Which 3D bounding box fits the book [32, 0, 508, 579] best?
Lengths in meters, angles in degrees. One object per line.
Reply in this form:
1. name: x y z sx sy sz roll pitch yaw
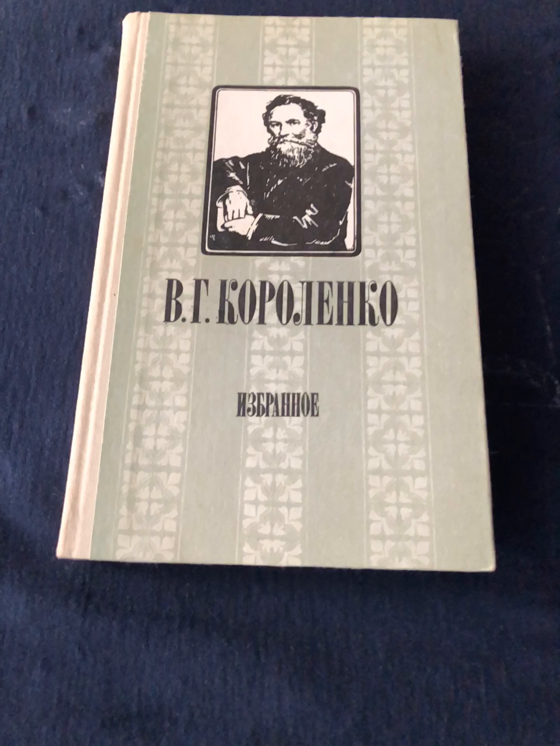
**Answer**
1. book: 0.000 -0.040 0.219 0.132 0.030 0.210 2 72 0
